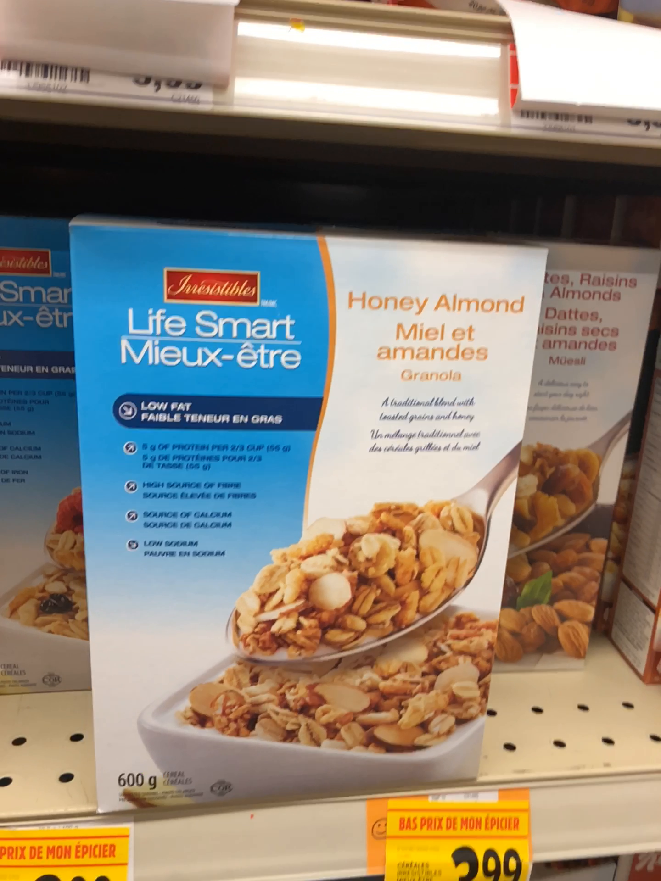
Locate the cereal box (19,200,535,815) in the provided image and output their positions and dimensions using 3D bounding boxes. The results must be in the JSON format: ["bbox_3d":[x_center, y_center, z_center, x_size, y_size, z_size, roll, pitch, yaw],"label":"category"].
[{"bbox_3d":[-0.024,0.030,0.306,0.170,0.239,0.060,0,18,-9],"label":"cereal box"}]
